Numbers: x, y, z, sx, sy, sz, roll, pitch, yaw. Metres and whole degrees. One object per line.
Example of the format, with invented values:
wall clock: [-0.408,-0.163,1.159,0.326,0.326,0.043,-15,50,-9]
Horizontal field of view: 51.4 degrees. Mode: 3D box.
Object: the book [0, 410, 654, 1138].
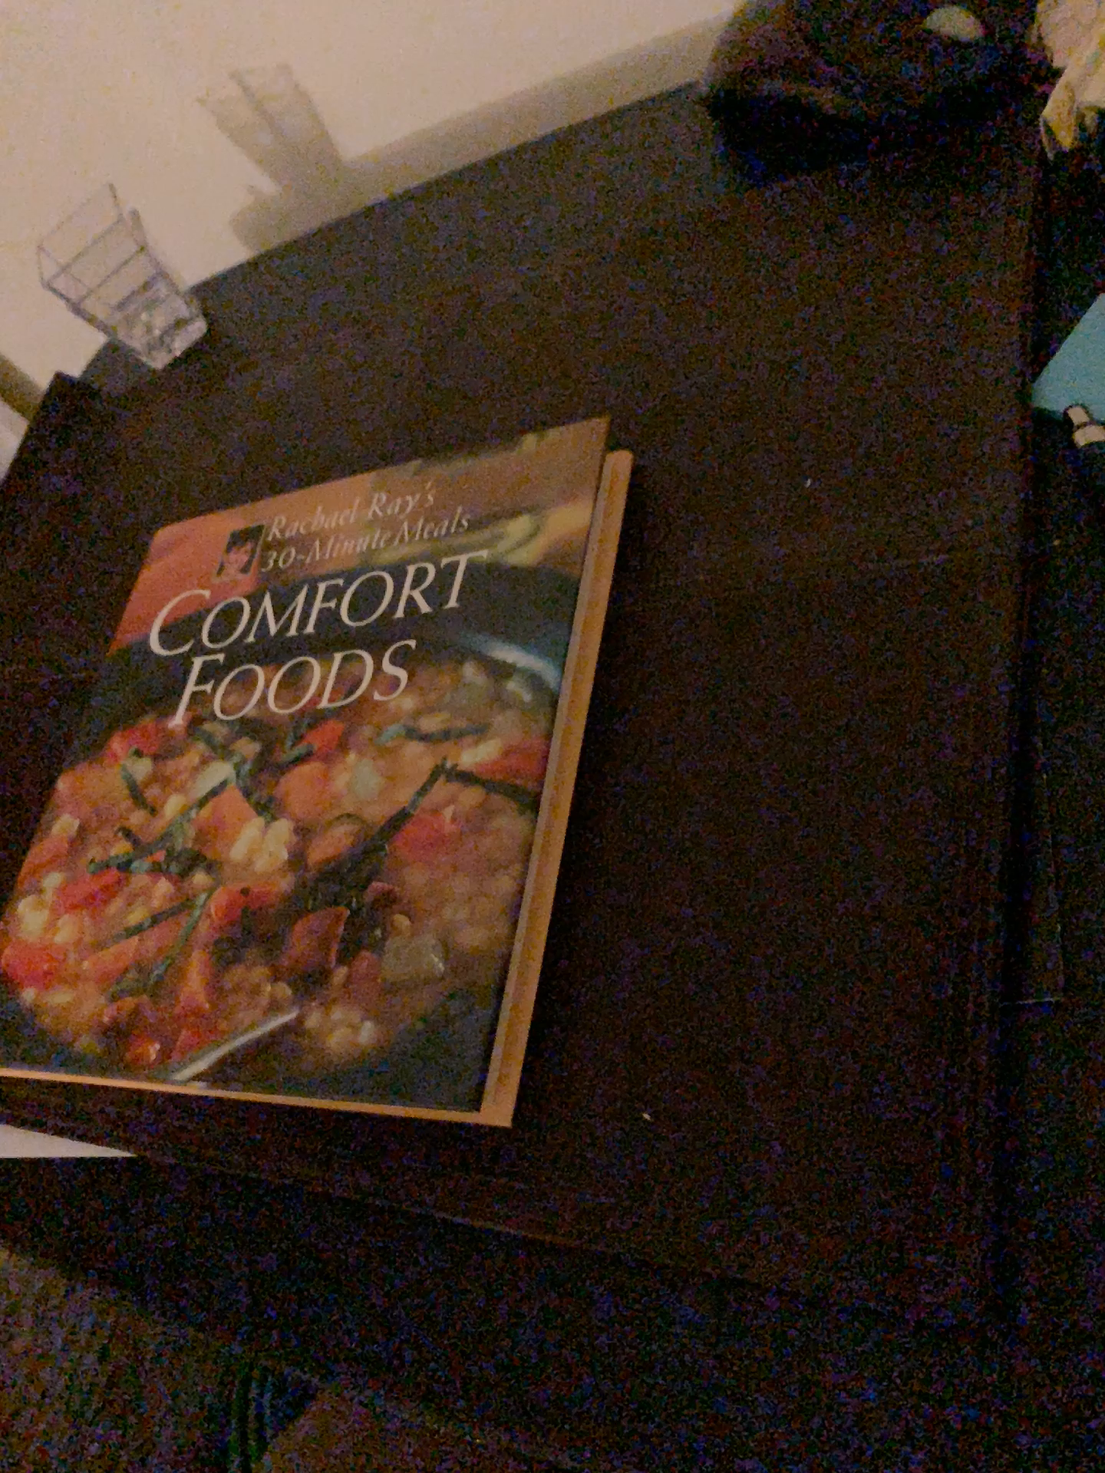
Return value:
book: [-0.077,0.007,0.346,0.201,0.020,0.200,-6,58,31]
